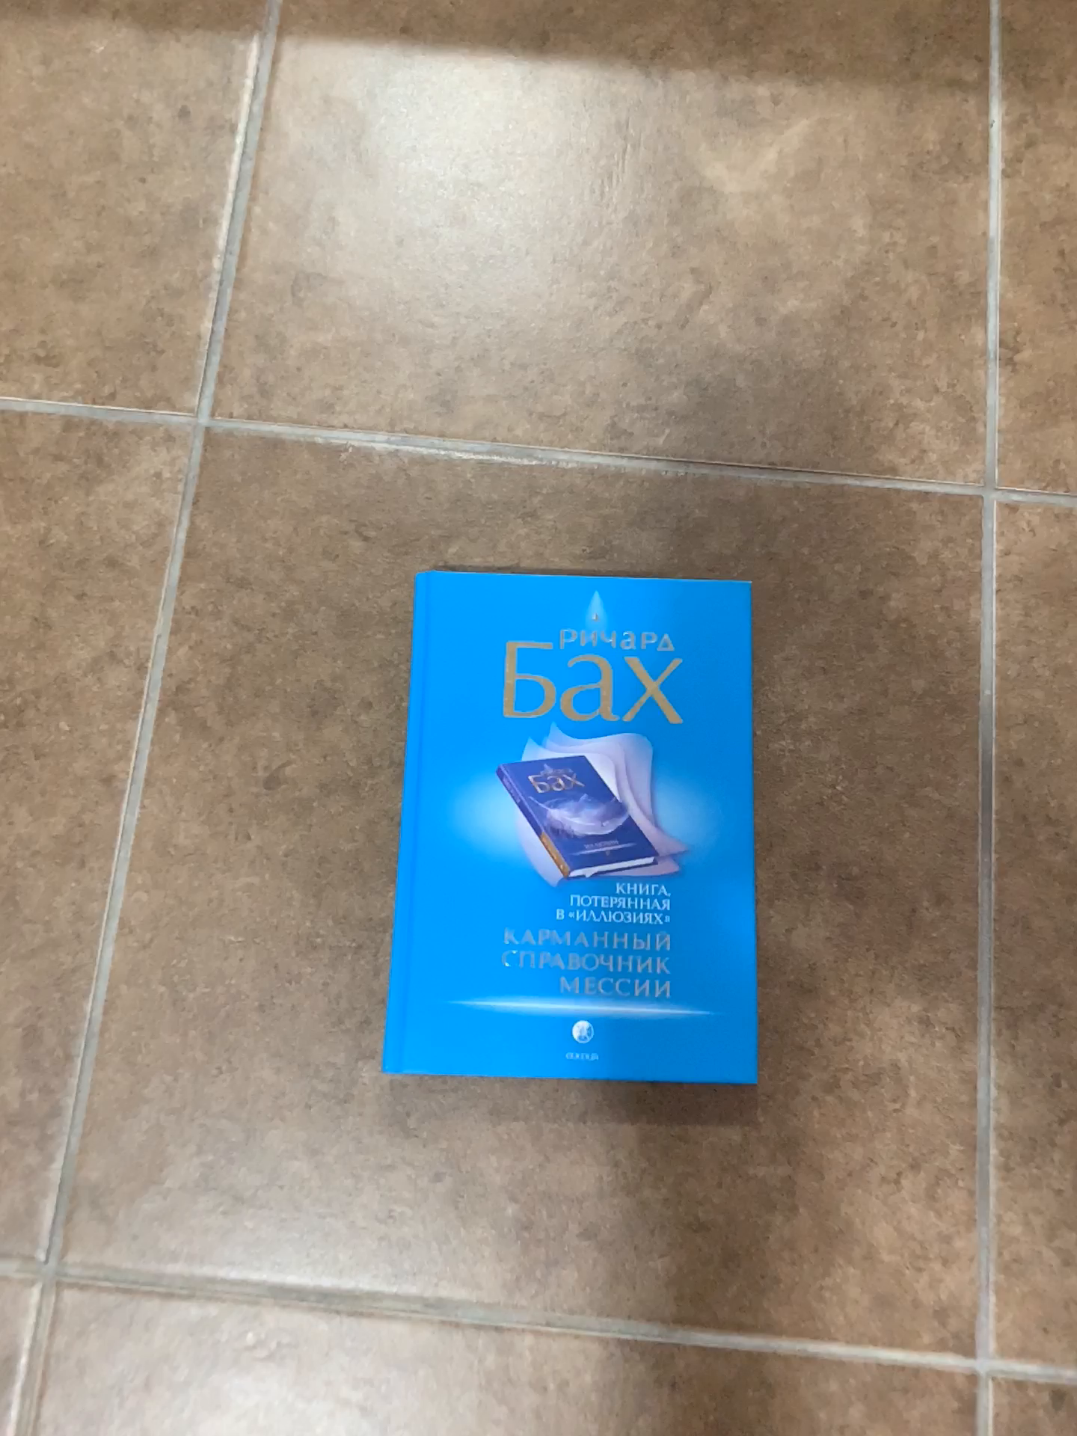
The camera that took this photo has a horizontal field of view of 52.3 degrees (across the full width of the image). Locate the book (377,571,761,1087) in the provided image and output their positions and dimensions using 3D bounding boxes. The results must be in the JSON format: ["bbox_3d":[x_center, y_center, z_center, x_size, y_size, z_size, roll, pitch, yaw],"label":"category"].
[{"bbox_3d":[0.013,0.034,0.375,0.122,0.015,0.169,2,77,1],"label":"book"}]
